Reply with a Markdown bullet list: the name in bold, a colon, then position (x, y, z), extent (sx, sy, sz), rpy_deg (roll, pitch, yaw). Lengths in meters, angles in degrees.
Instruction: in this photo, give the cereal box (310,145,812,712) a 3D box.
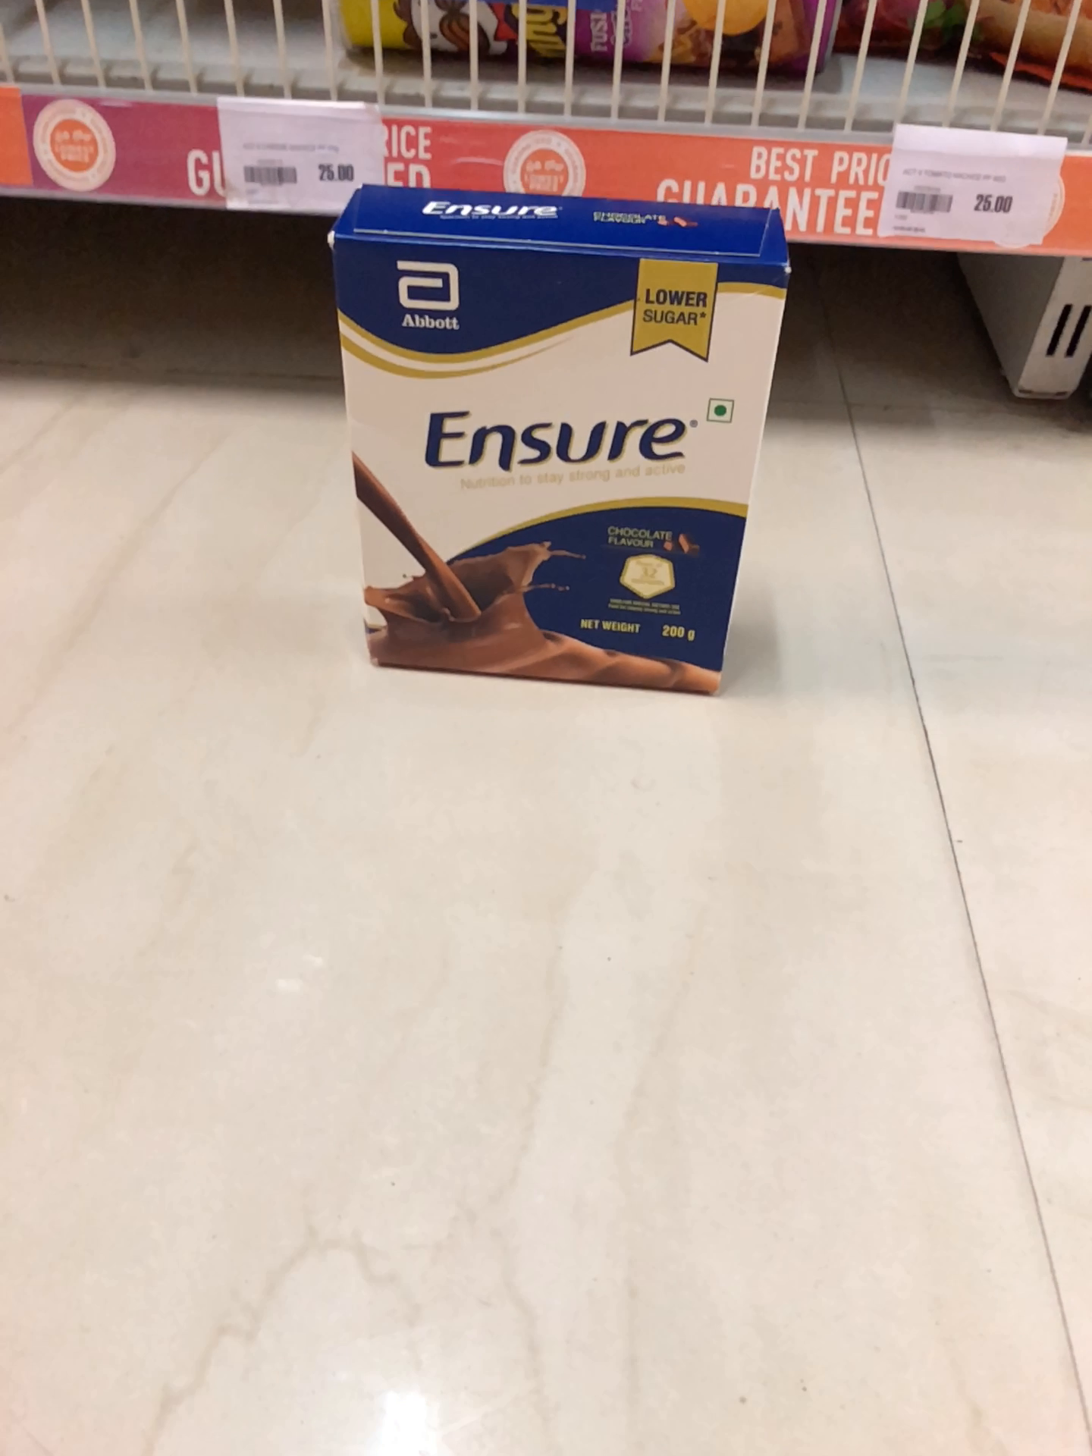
- **cereal box**: position (0.004, -0.093, 0.416), extent (0.140, 0.179, 0.050), rpy_deg (5, 44, 3)
